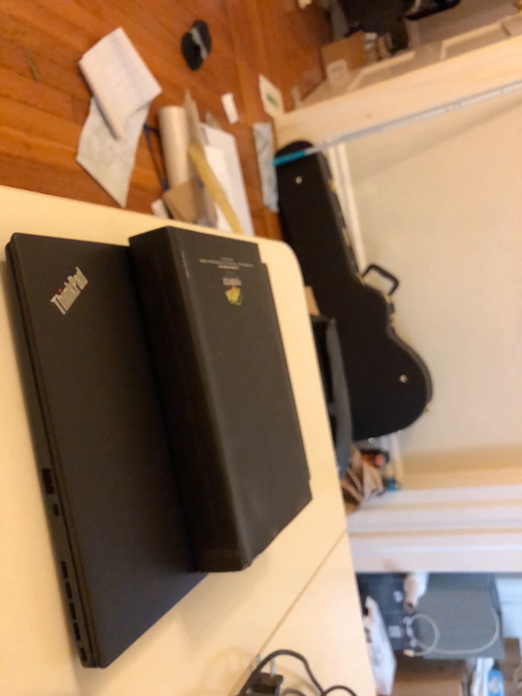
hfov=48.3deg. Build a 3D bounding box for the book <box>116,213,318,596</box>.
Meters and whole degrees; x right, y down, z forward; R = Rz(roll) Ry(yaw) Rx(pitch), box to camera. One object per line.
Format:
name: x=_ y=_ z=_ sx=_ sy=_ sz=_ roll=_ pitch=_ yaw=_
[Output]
book: x=-0.021 y=0.030 z=0.420 sx=0.151 sy=0.040 sz=0.230 roll=-13 pitch=93 yaw=-67
